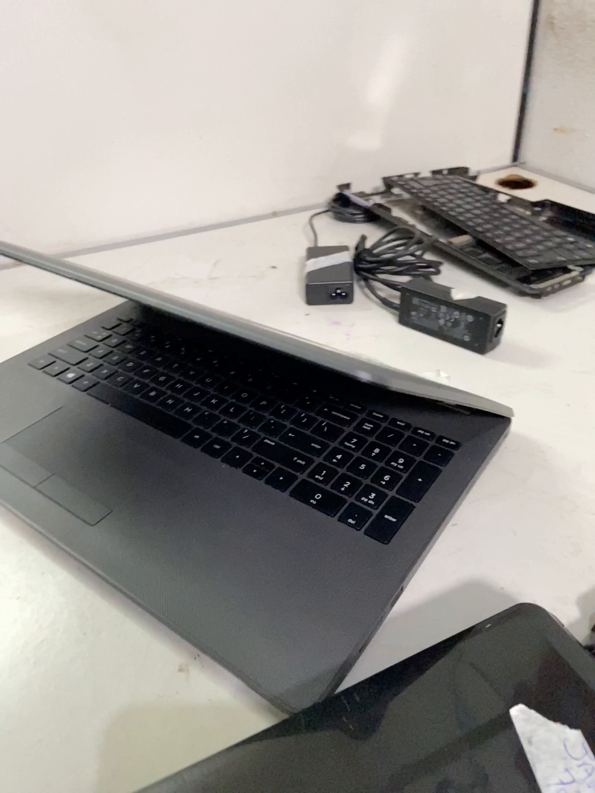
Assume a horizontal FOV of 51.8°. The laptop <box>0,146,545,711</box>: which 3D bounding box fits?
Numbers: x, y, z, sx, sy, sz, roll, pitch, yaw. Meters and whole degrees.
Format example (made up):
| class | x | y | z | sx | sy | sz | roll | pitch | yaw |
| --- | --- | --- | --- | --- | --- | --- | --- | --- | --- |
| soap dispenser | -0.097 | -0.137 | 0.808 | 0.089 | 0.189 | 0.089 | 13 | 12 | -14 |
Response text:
| class | x | y | z | sx | sy | sz | roll | pitch | yaw |
| --- | --- | --- | --- | --- | --- | --- | --- | --- | --- |
| laptop | -0.080 | -0.041 | 0.405 | 0.380 | 0.141 | 0.248 | 21 | 43 | 30 |
